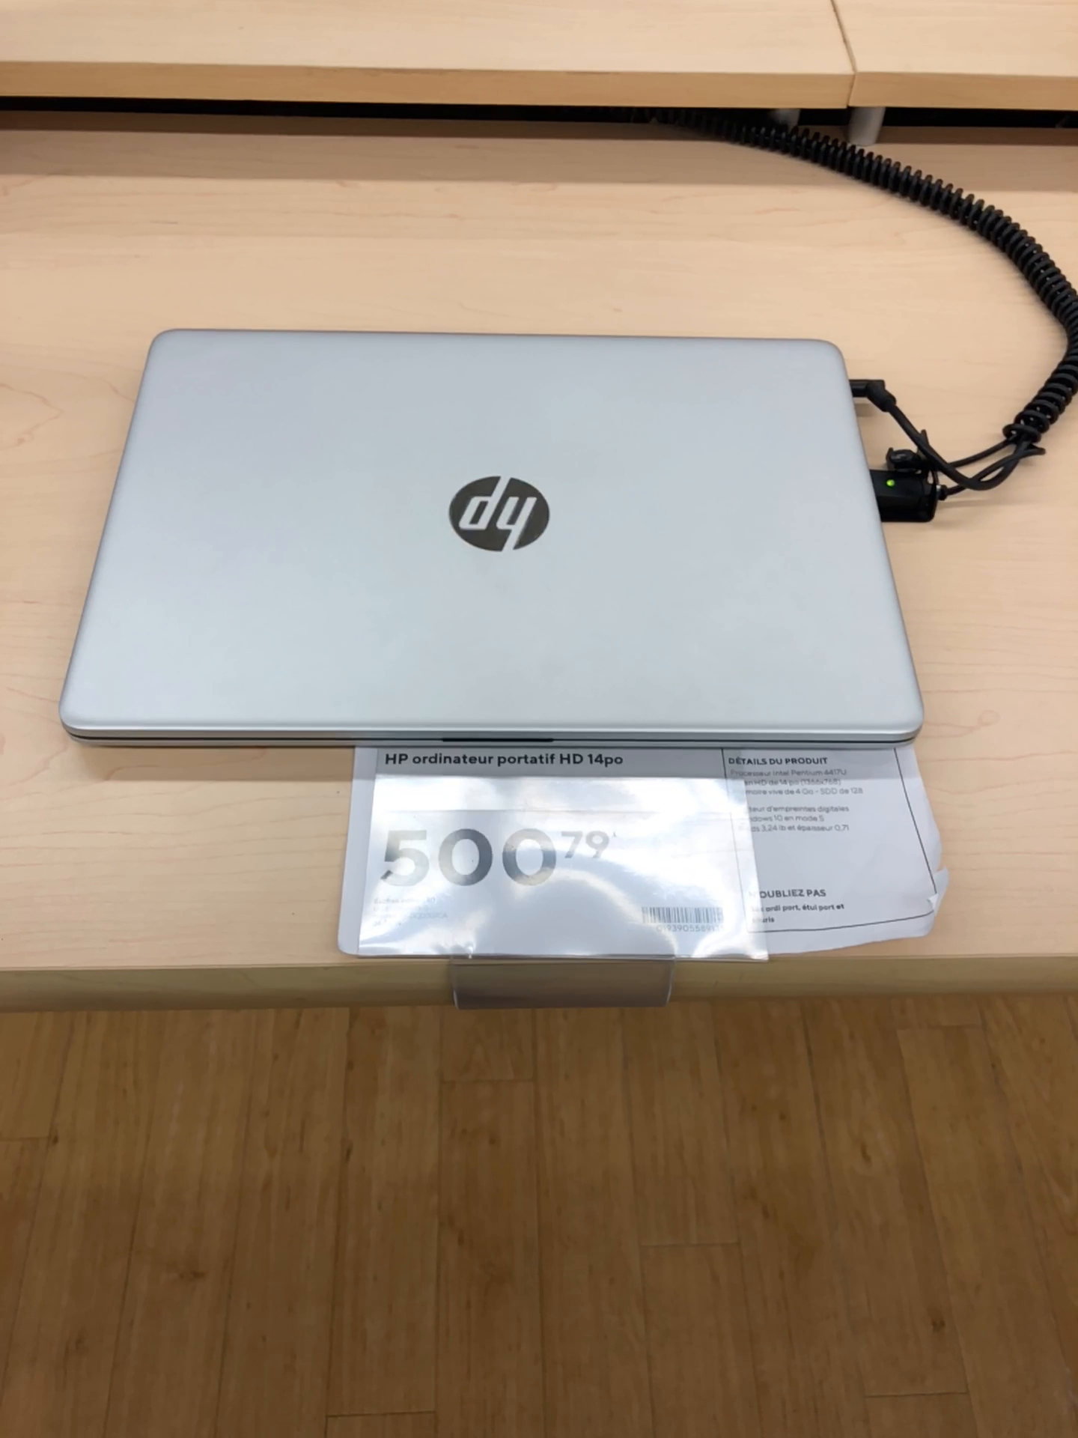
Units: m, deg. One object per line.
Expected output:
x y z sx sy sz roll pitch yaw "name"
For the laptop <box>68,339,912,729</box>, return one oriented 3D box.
-0.016 -0.085 0.494 0.309 0.004 0.206 0 57 -4 "laptop"
